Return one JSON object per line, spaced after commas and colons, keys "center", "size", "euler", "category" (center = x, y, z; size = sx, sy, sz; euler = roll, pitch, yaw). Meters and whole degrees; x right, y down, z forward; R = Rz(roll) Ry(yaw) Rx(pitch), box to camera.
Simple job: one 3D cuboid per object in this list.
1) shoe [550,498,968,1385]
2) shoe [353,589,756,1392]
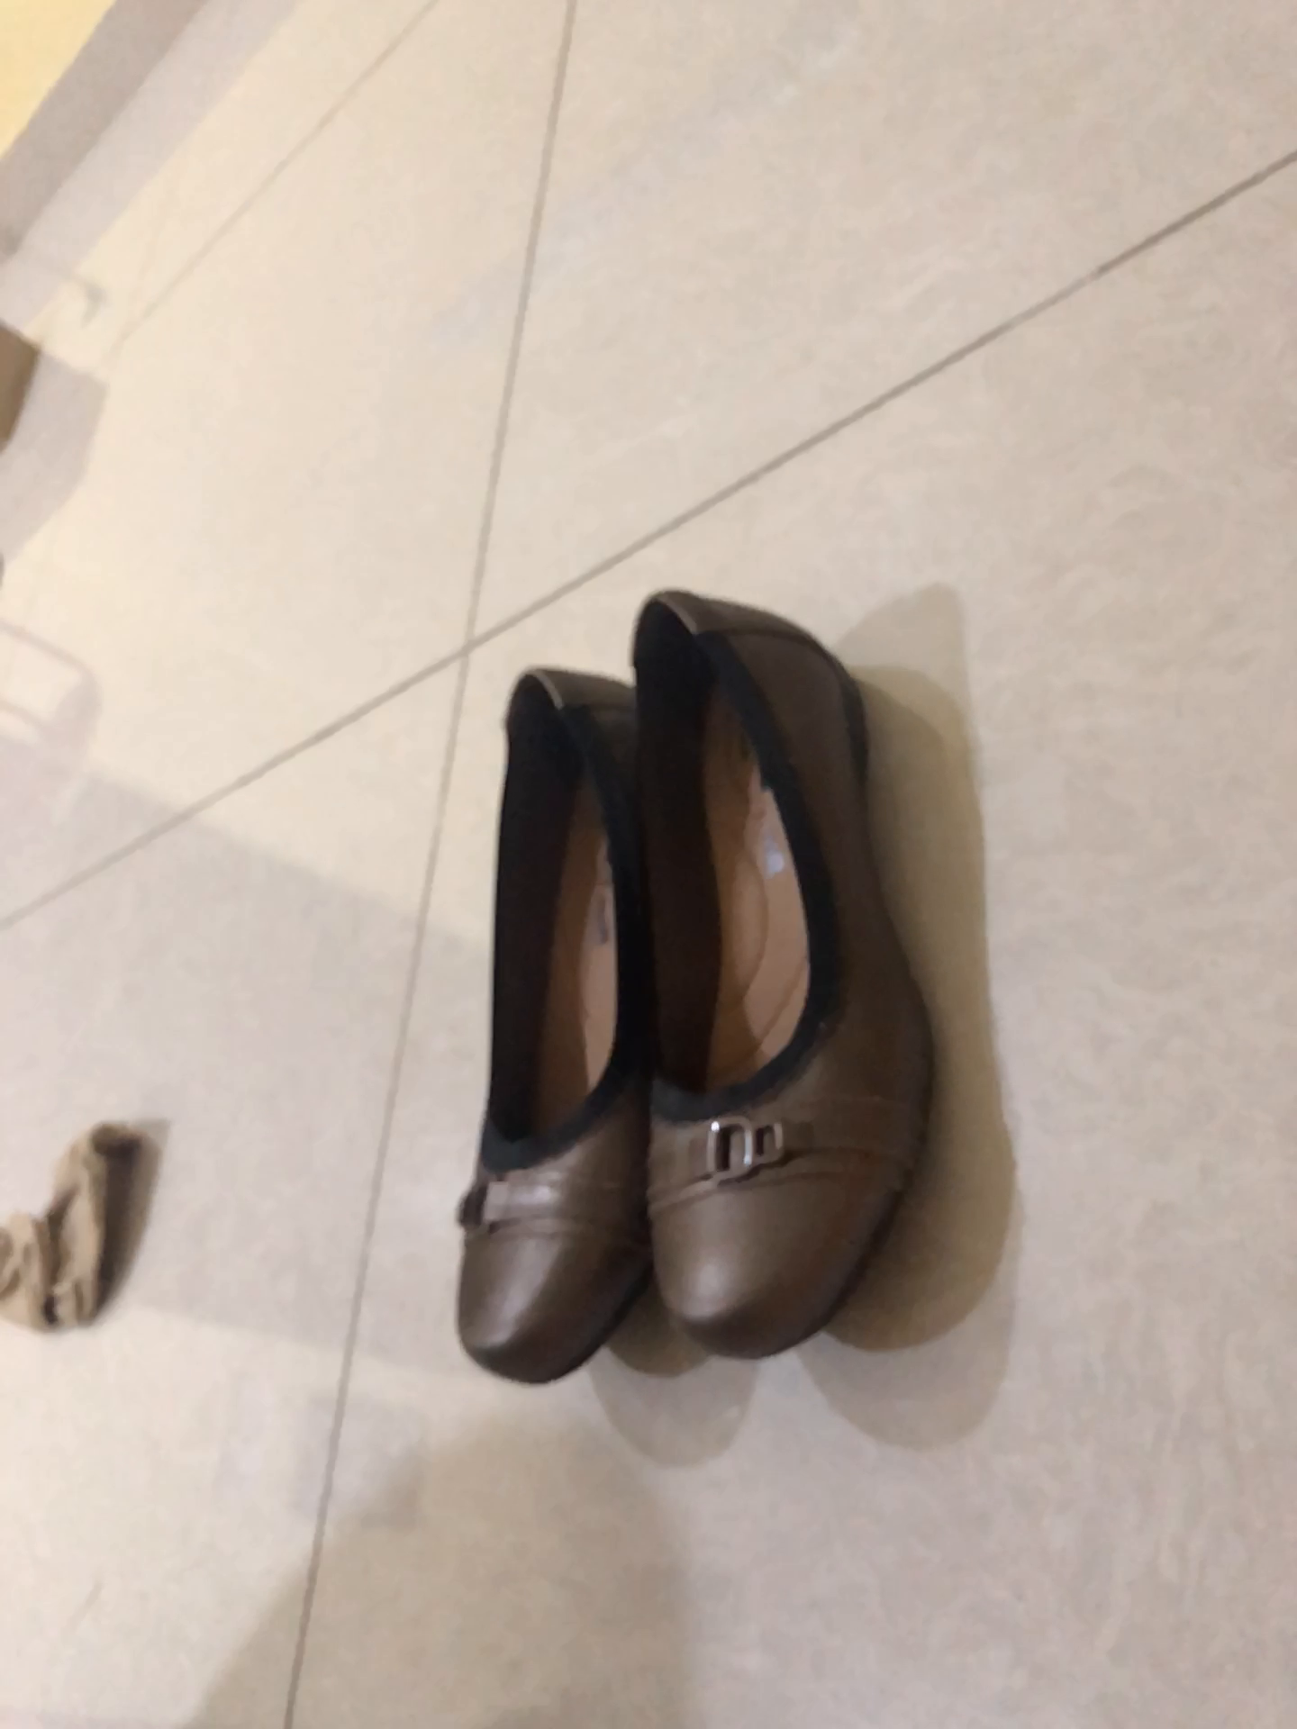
{"center": [0.034, 0.019, 0.464], "size": [0.090, 0.070, 0.260], "euler": [-25, 50, 39], "category": "shoe"}
{"center": [-0.028, 0.041, 0.521], "size": [0.101, 0.050, 0.270], "euler": [-18, 54, 43], "category": "shoe"}
